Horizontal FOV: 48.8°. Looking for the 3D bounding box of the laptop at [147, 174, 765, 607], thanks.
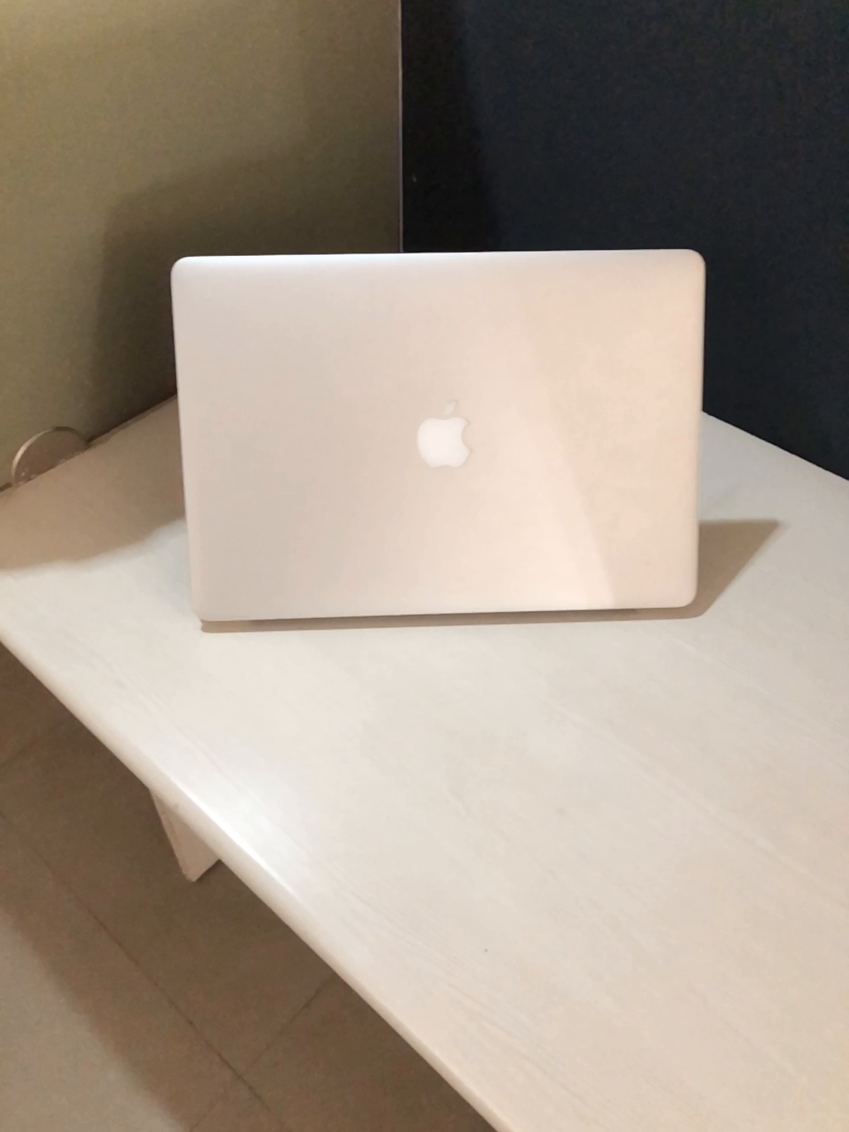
[{"bbox_3d":[0.013,-0.128,0.669,0.343,0.198,0.236,-1,47,-3],"label":"laptop"}]
